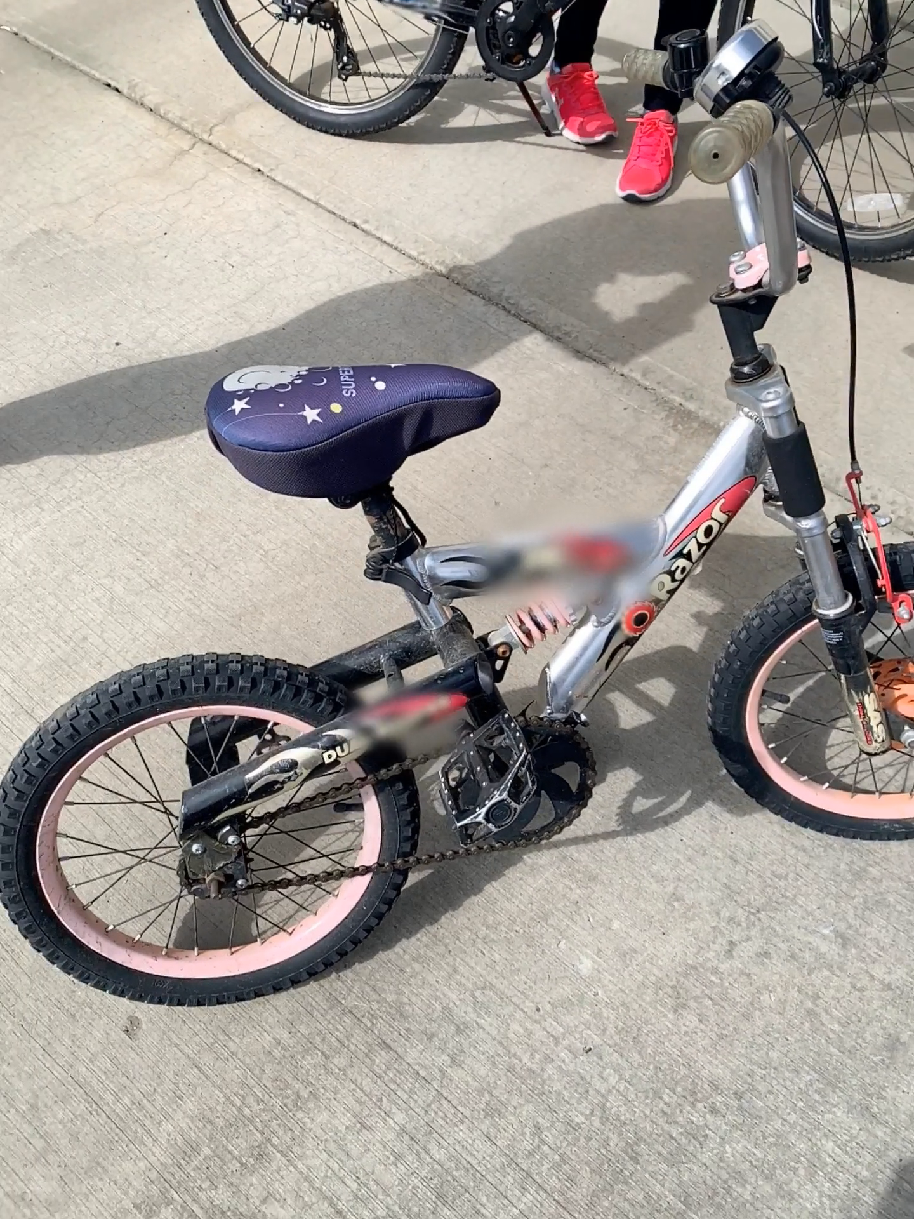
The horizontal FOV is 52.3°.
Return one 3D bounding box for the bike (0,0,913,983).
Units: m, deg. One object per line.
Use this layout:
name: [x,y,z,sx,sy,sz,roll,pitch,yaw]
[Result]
bike: [0.119,-0.089,0.852,1.122,0.692,0.359,-11,55,-13]
